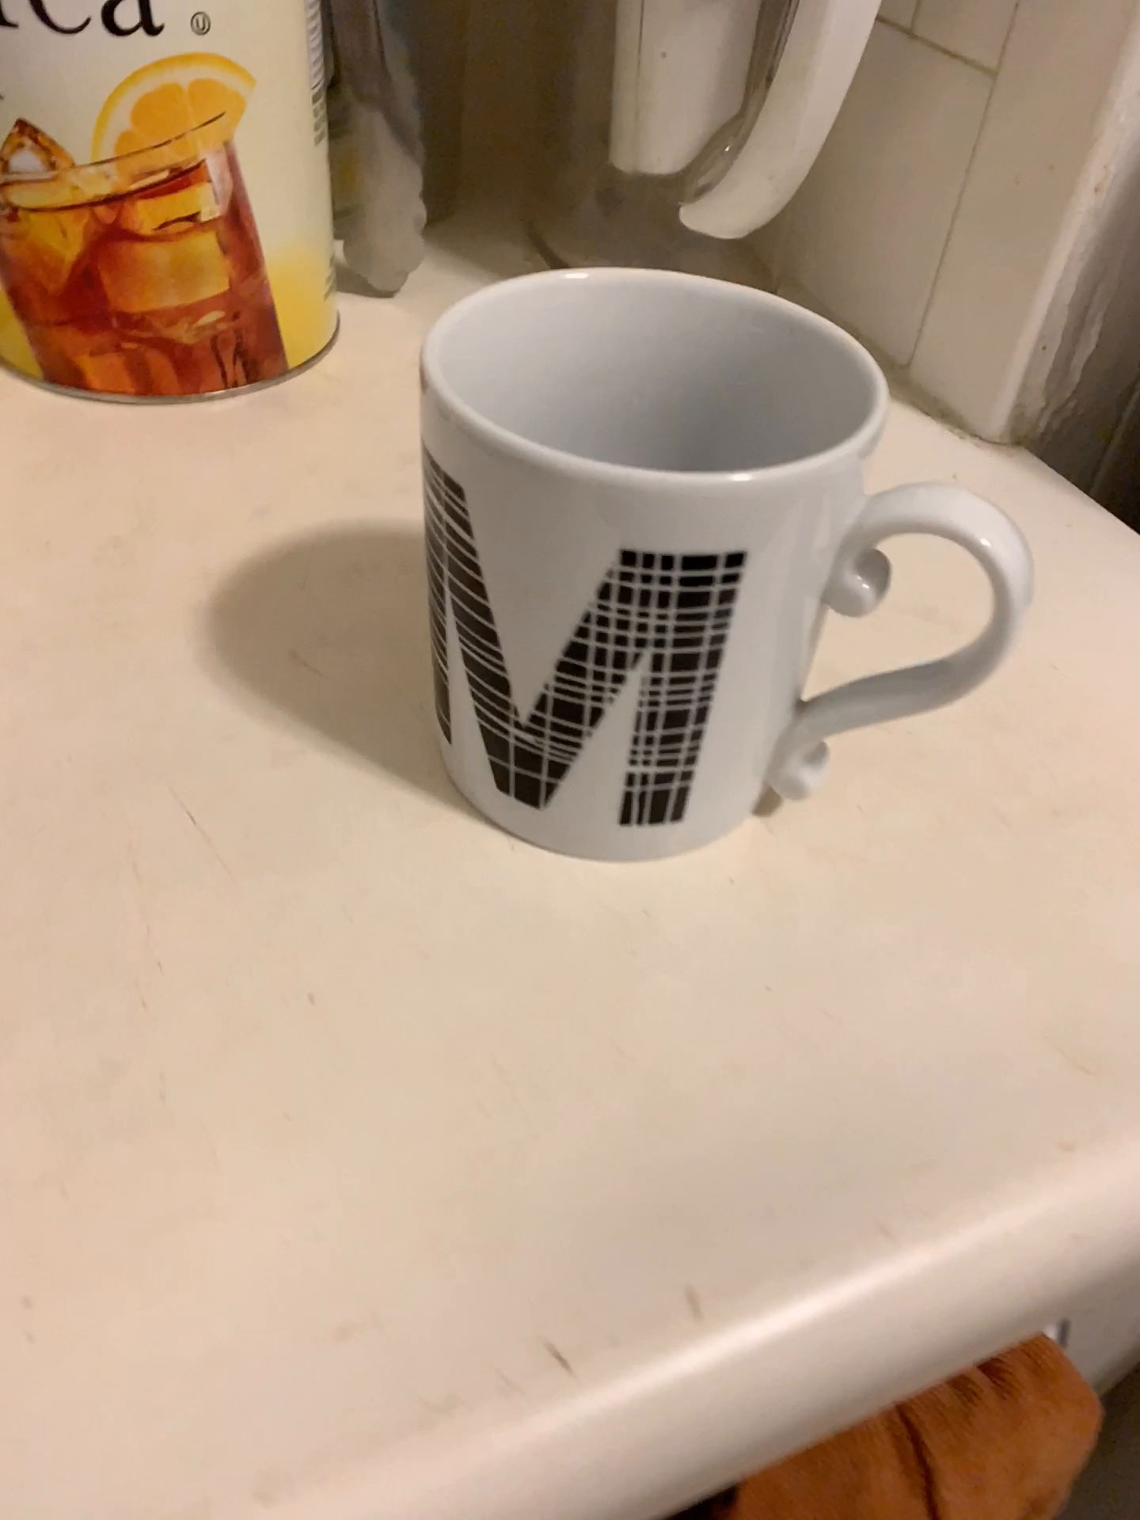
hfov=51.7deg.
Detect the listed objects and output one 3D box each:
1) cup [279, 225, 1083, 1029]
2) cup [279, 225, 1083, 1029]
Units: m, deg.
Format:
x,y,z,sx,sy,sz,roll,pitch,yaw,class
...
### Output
x,y,z,sx,sy,sz,roll,pitch,yaw,class
0.023,-0.035,0.265,0.130,0.109,0.100,20,44,14,cup
0.023,-0.035,0.265,0.130,0.109,0.100,20,44,14,cup
